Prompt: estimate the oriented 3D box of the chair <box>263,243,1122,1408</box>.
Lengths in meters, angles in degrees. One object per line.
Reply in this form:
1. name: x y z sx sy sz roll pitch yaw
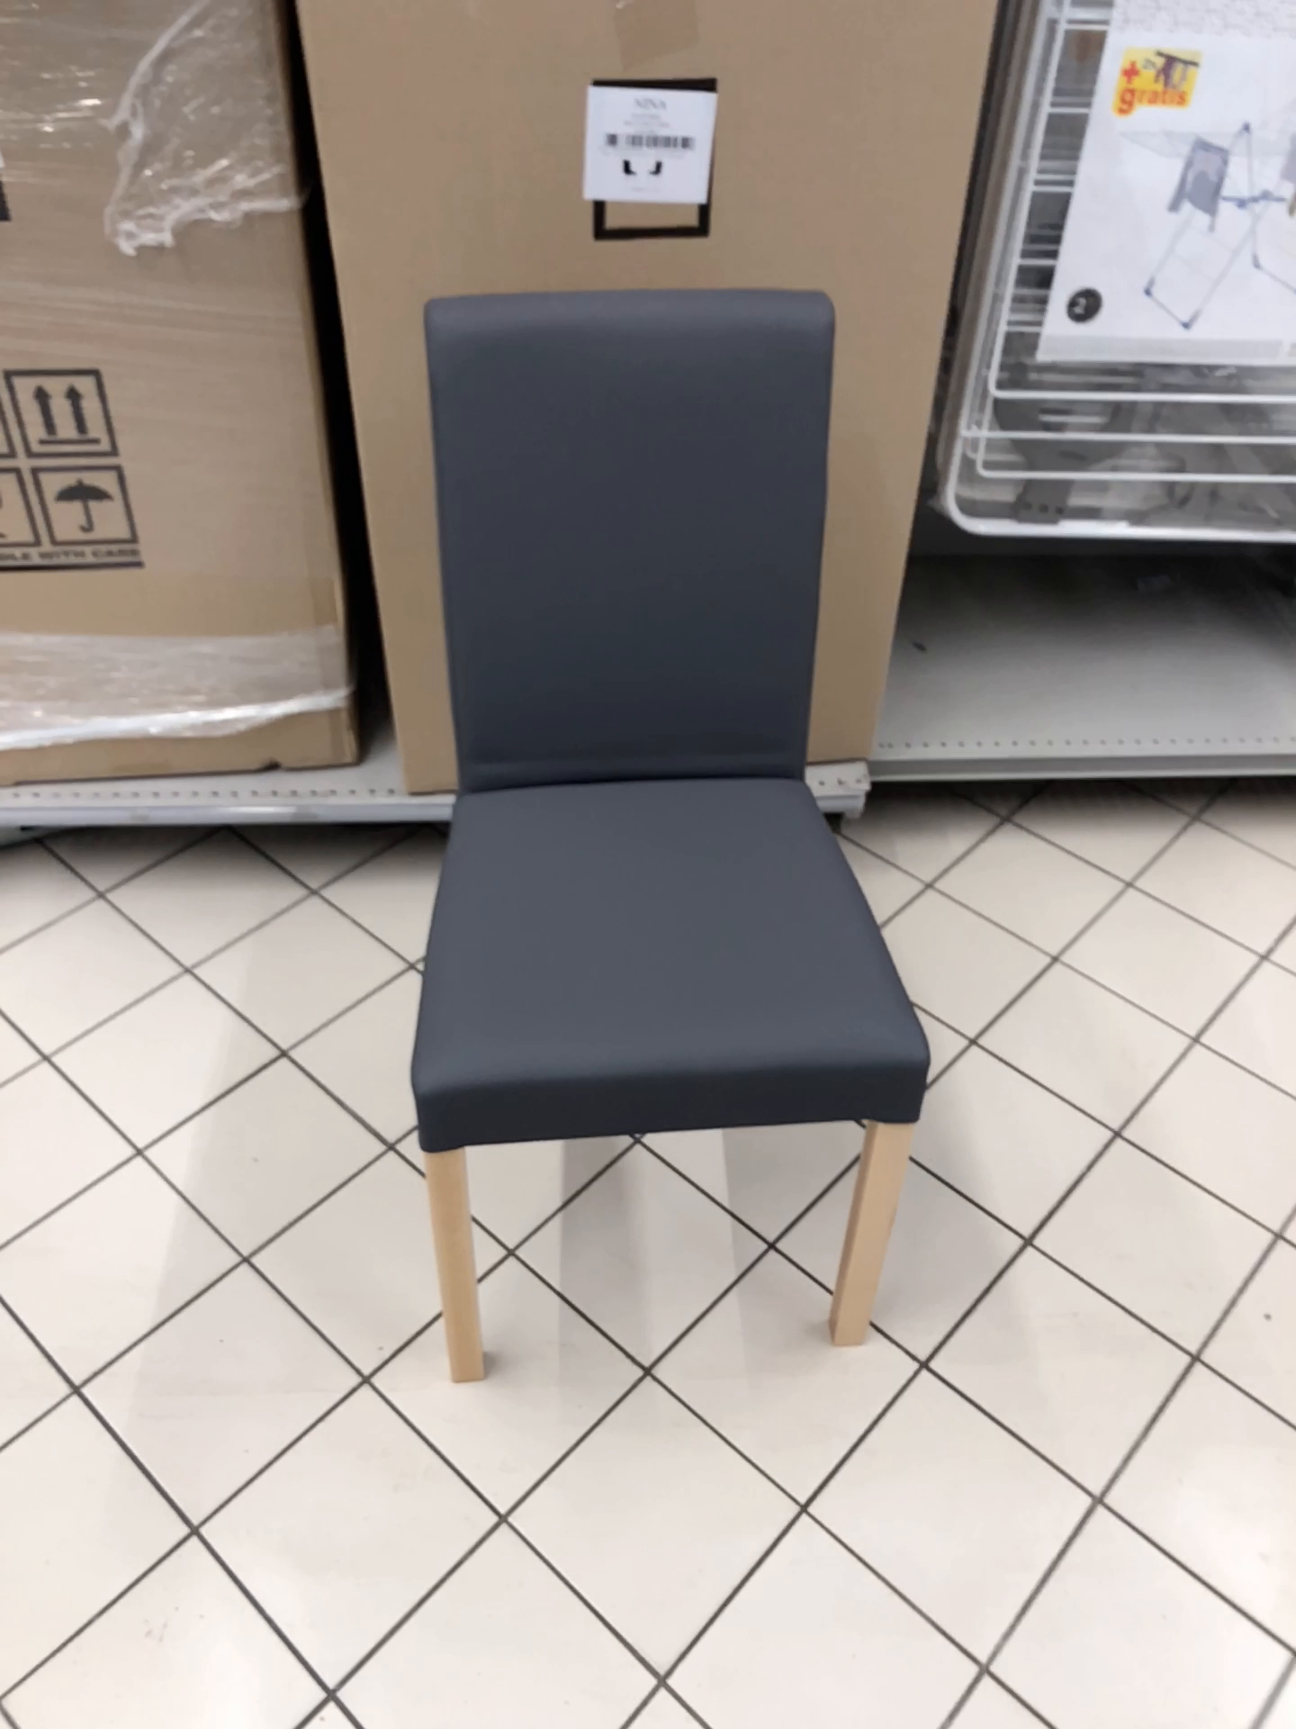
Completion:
1. chair: -0.008 -0.016 1.261 0.470 0.825 0.573 -4 43 -6
